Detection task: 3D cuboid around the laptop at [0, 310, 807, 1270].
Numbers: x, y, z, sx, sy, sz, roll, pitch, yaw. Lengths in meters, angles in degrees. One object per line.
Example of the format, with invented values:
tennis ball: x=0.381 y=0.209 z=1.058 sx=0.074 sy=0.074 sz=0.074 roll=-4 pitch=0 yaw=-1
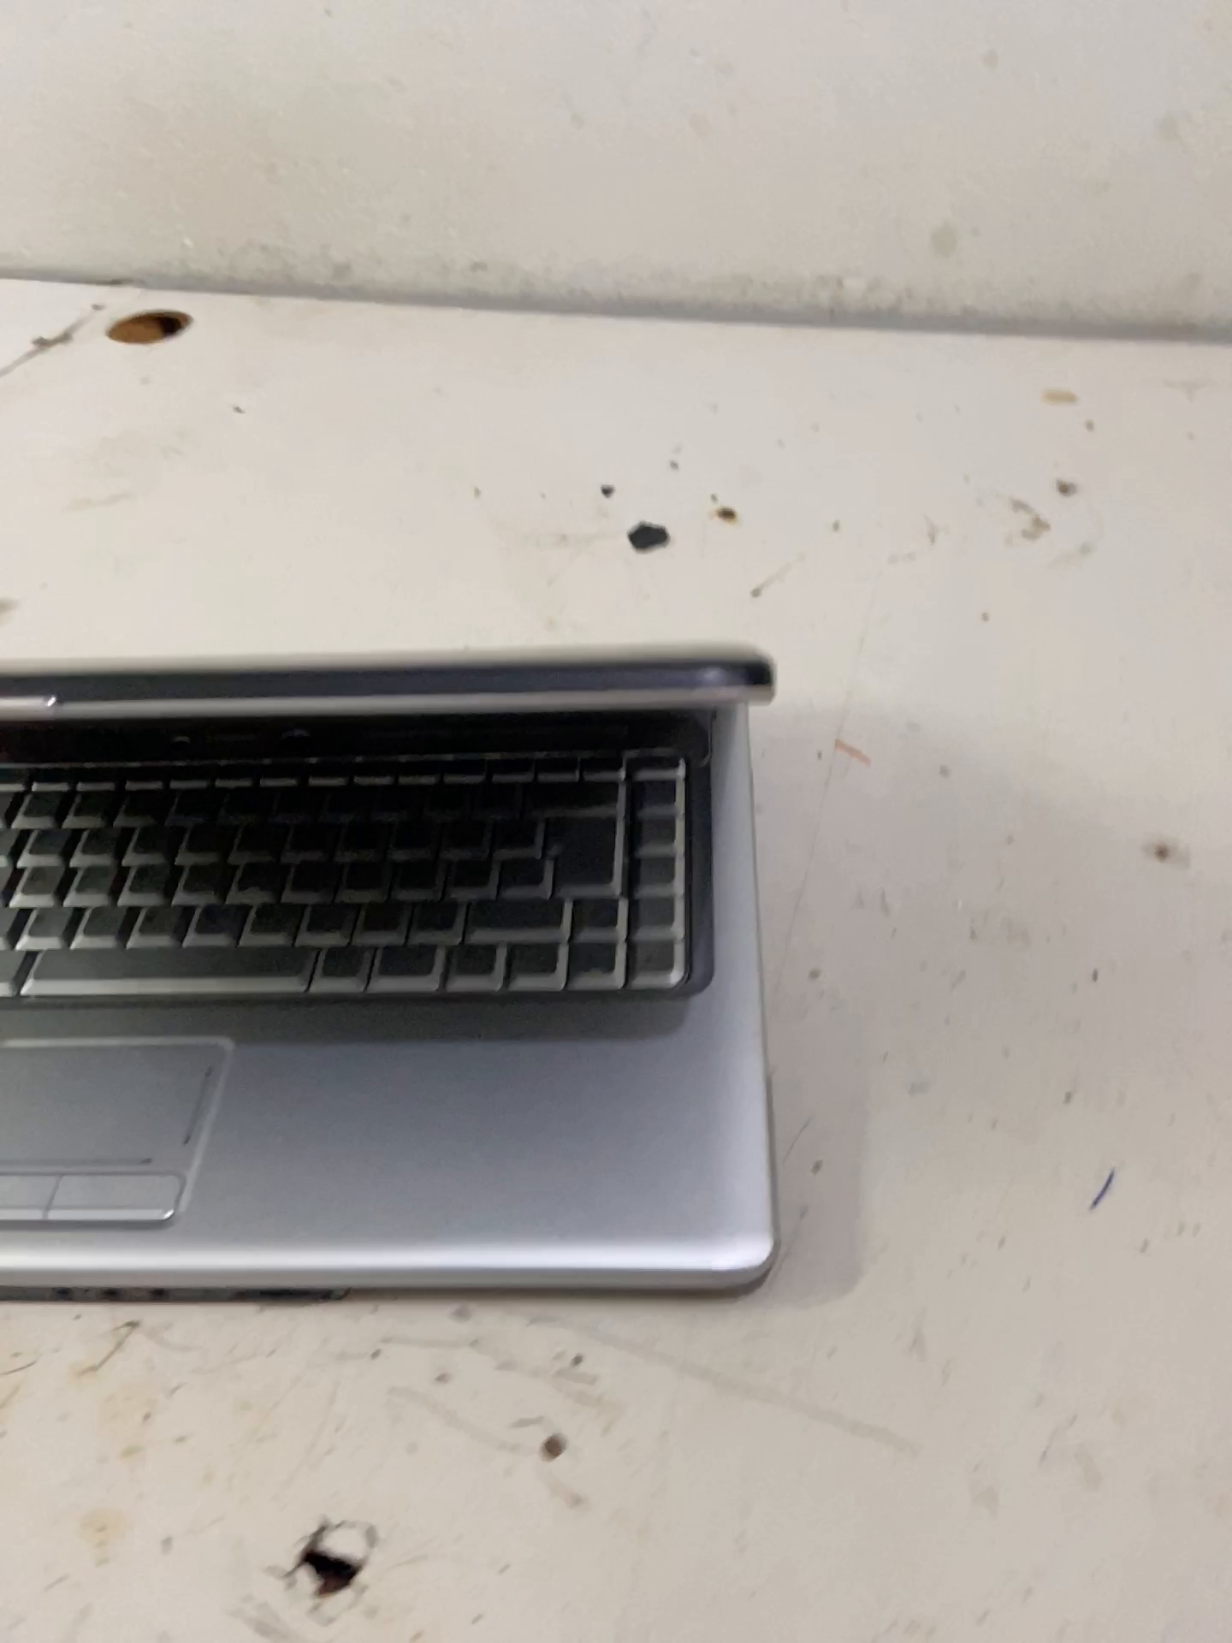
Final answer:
laptop: x=-0.130 y=-0.019 z=0.373 sx=0.347 sy=0.145 sz=0.239 roll=-1 pitch=45 yaw=4
